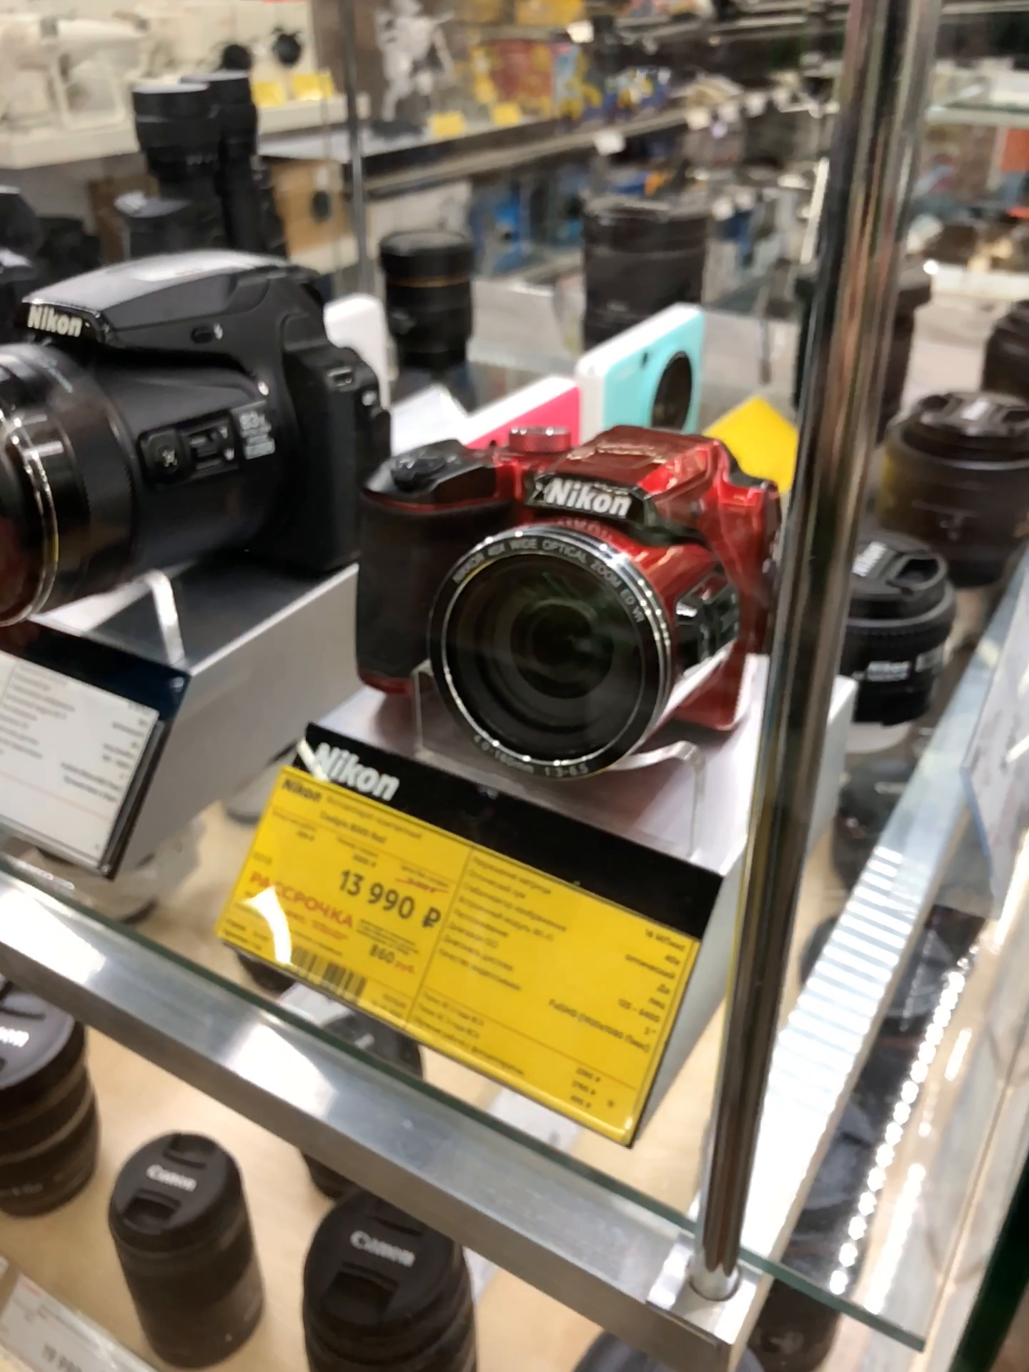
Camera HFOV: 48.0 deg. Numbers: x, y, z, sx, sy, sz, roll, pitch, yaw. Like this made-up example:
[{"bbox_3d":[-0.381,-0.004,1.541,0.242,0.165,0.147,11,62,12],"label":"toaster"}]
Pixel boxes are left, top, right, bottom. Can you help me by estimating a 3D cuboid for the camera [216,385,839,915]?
[{"bbox_3d":[0.007,-0.021,0.316,0.120,0.076,0.110,18,36,27],"label":"camera"}]
